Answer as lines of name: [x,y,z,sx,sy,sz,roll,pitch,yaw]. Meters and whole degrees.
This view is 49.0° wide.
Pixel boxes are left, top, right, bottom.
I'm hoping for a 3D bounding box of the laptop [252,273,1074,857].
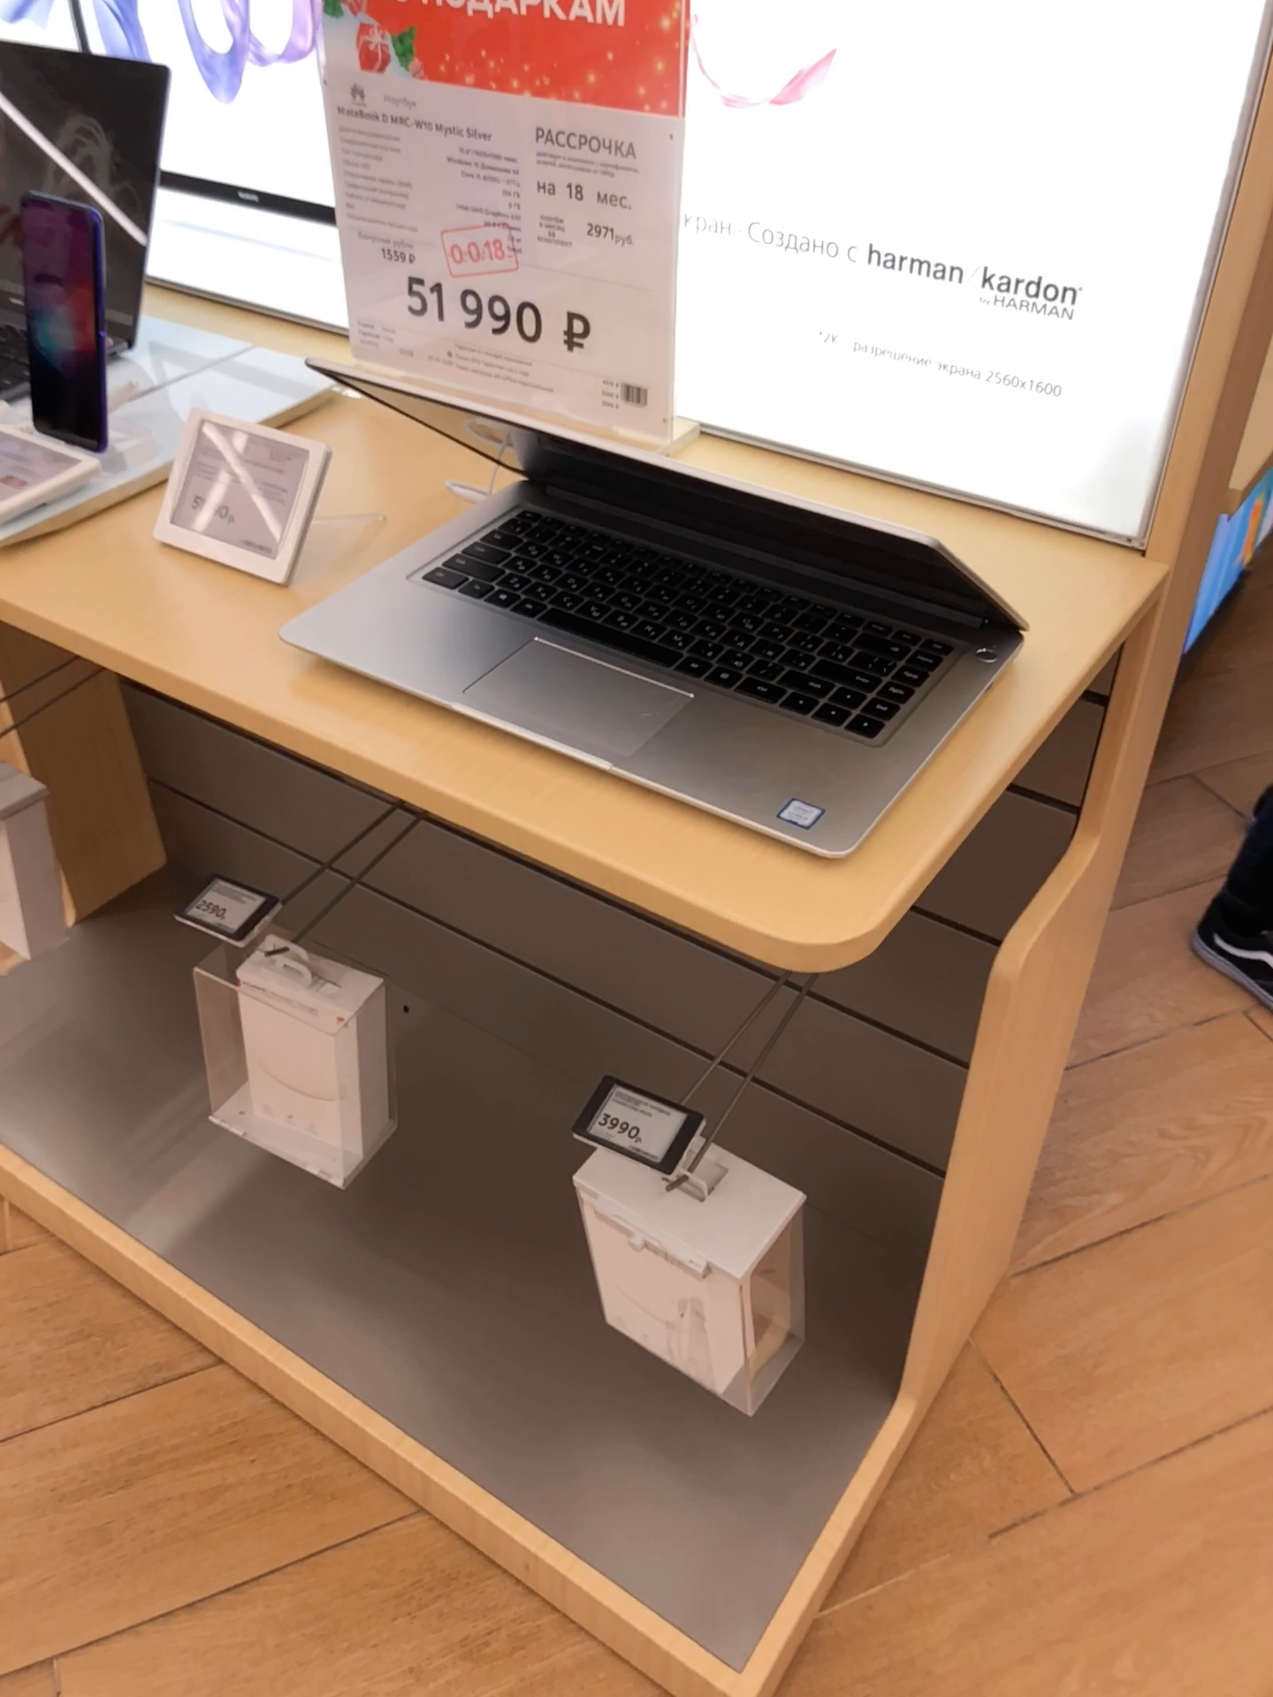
laptop: [0.013,-0.172,0.734,0.343,0.135,0.231,23,44,25]
